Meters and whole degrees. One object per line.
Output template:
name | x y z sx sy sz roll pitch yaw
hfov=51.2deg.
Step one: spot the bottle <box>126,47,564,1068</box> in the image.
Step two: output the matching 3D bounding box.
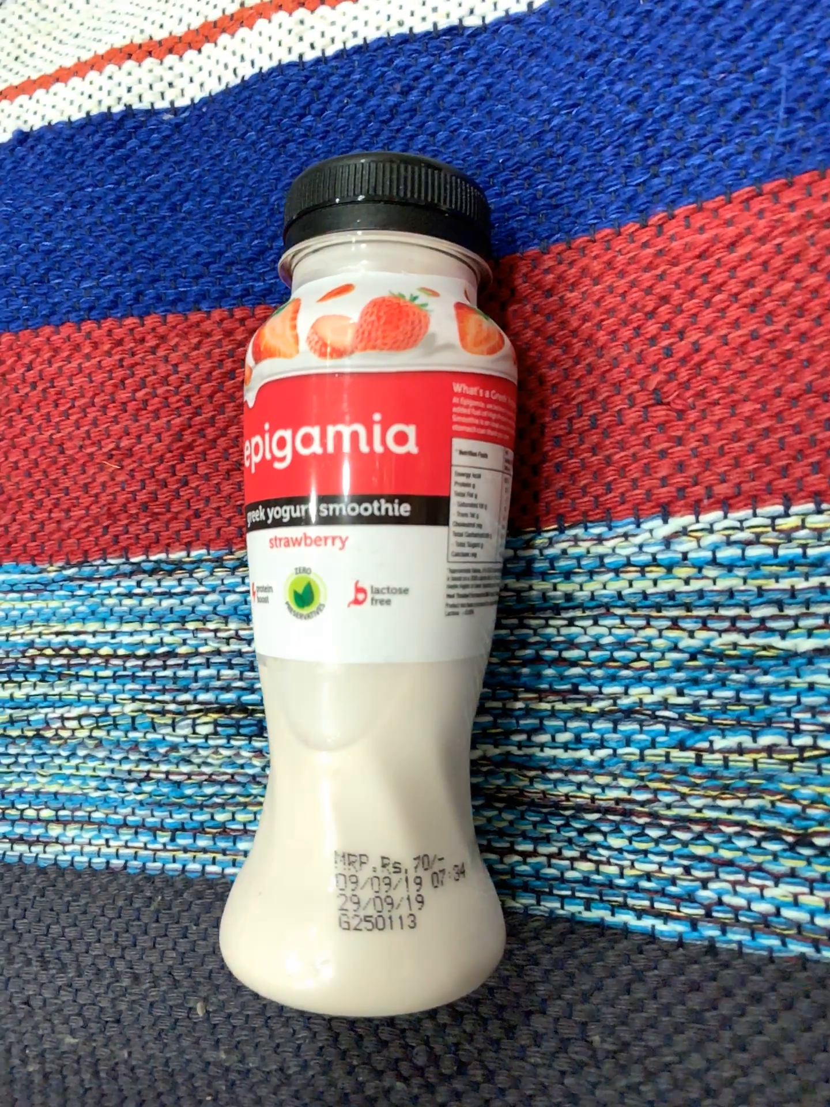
bottle | -0.008 -0.002 0.169 0.060 0.050 0.160 0 82 22
